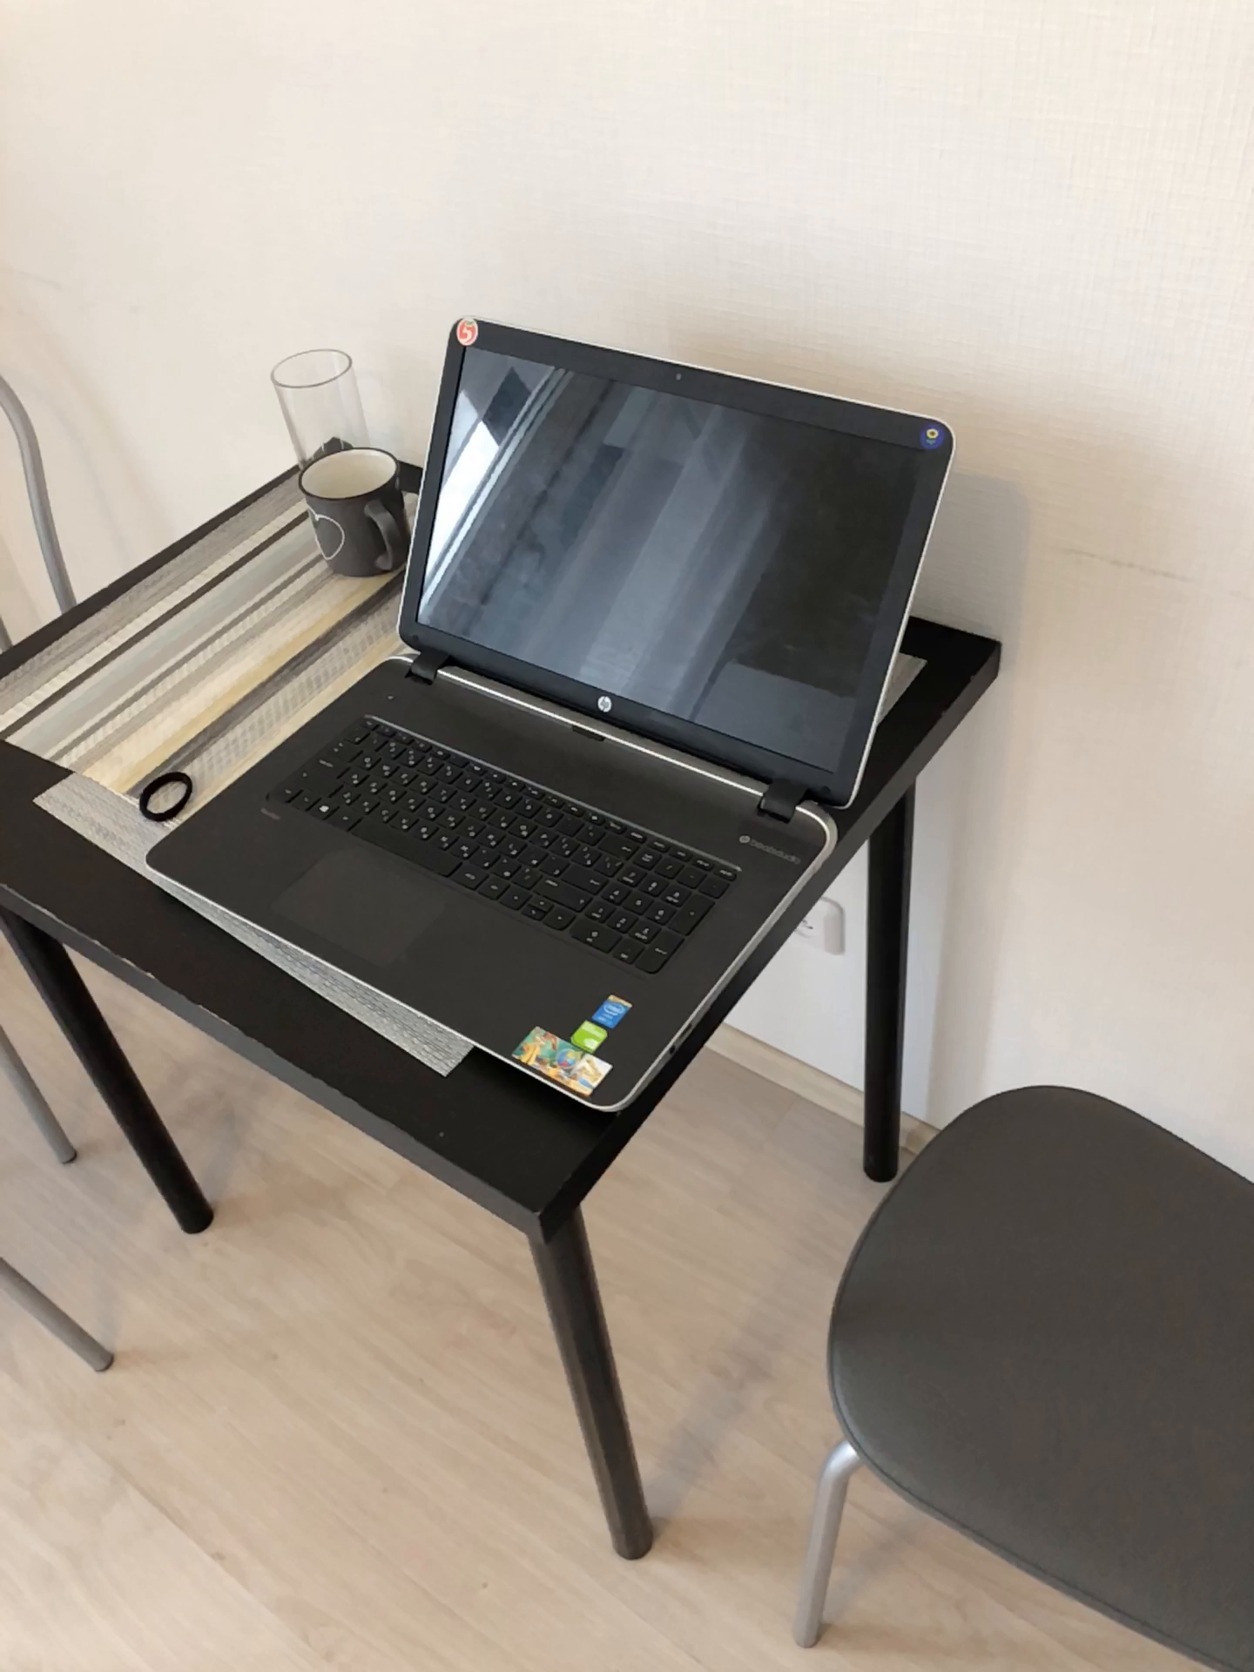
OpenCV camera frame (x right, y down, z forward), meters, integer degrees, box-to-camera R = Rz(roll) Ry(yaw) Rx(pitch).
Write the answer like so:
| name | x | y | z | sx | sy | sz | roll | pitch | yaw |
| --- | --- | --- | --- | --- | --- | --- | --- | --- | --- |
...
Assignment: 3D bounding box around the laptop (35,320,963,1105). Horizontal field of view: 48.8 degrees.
| name | x | y | z | sx | sy | sz | roll | pitch | yaw |
| --- | --- | --- | --- | --- | --- | --- | --- | --- | --- |
| laptop | -0.064 | -0.123 | 0.935 | 0.416 | 0.227 | 0.413 | 23 | 51 | 29 |
